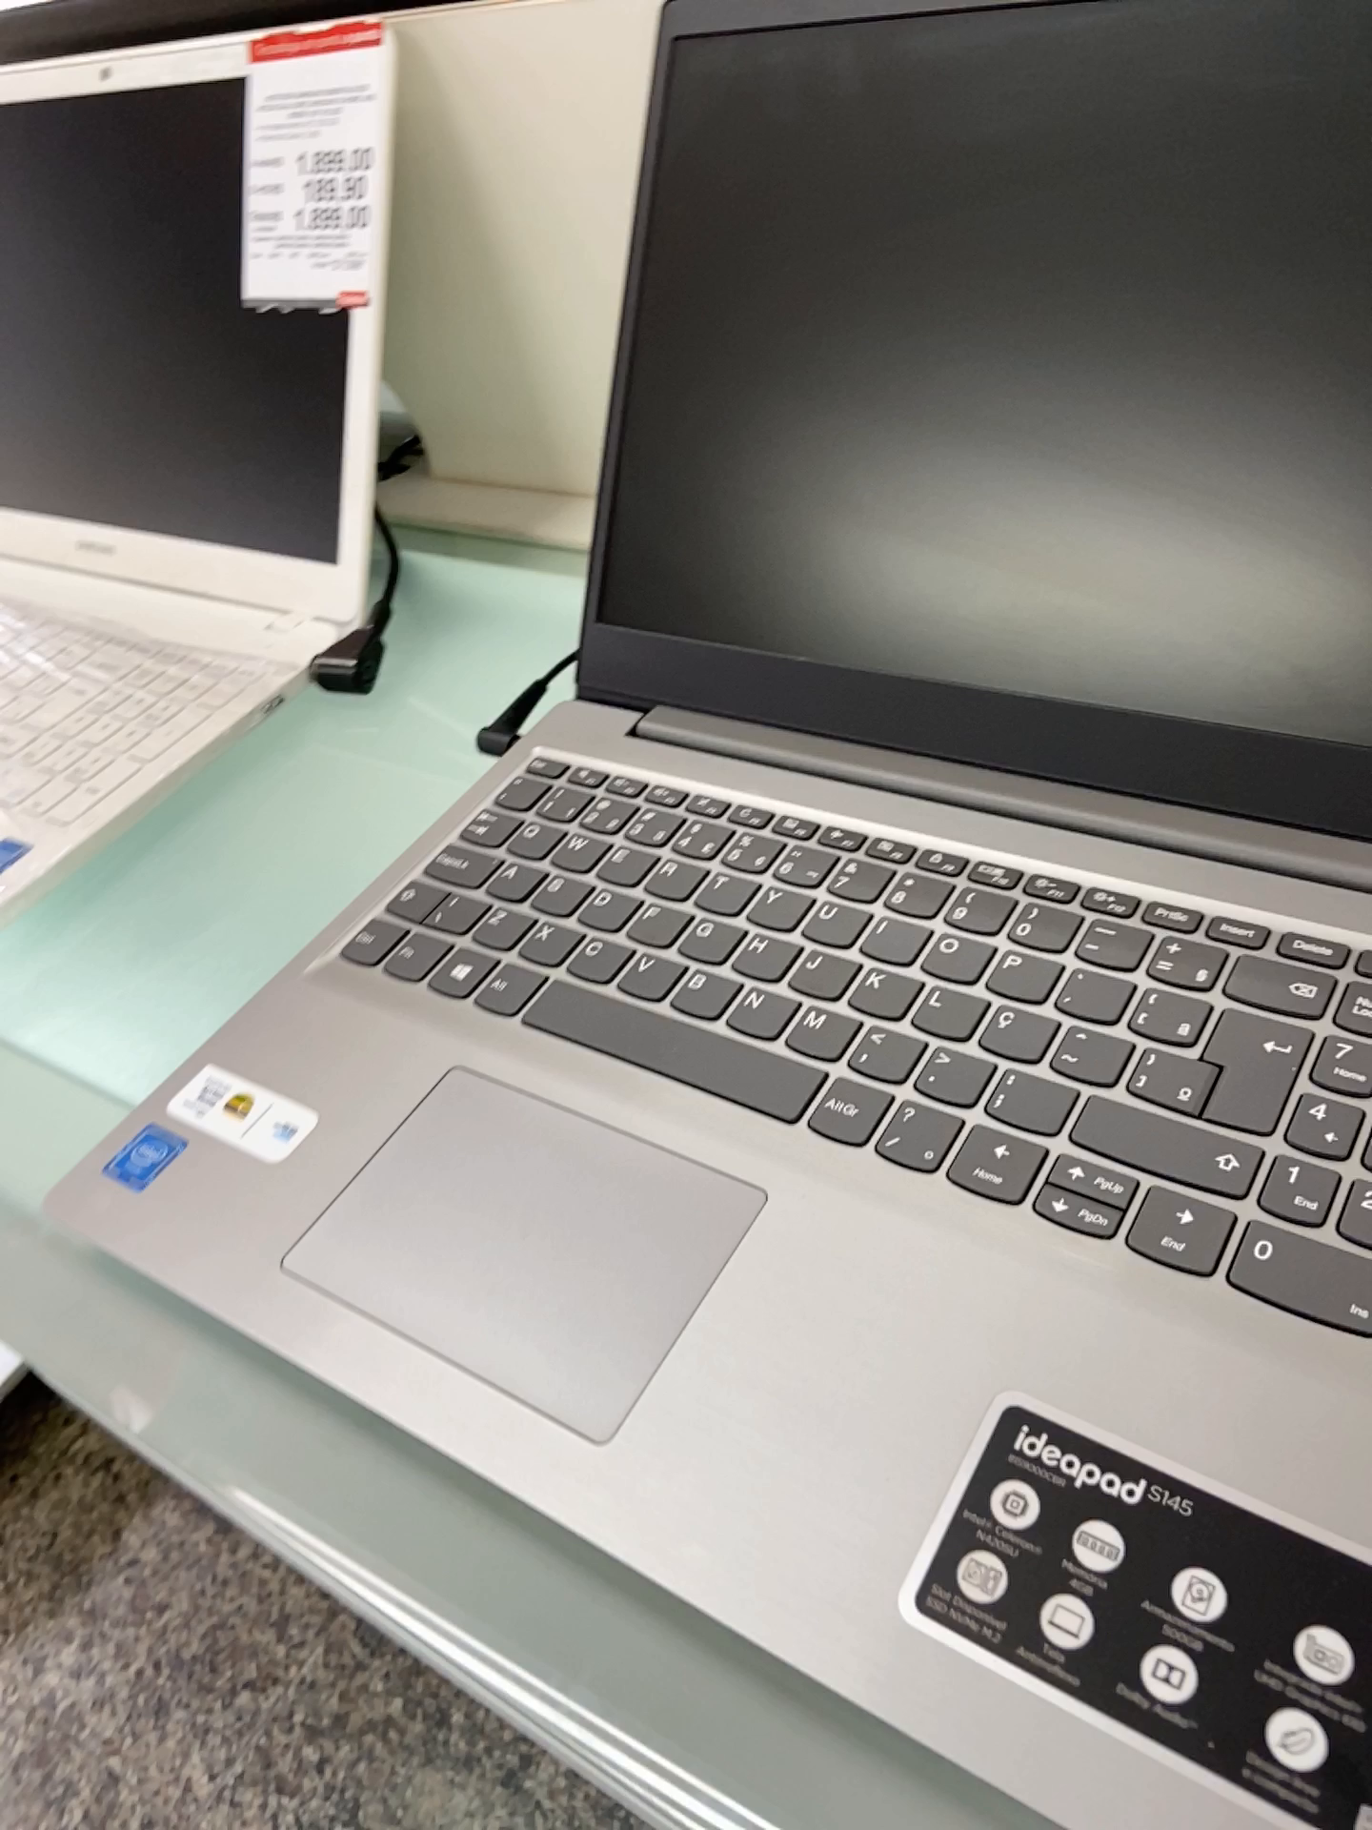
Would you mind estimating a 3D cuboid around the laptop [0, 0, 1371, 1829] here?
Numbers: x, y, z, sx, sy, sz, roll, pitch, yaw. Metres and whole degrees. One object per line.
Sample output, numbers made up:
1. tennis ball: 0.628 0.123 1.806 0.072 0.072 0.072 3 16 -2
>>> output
1. laptop: 0.054 -0.076 0.343 0.367 0.189 0.403 16 50 33
